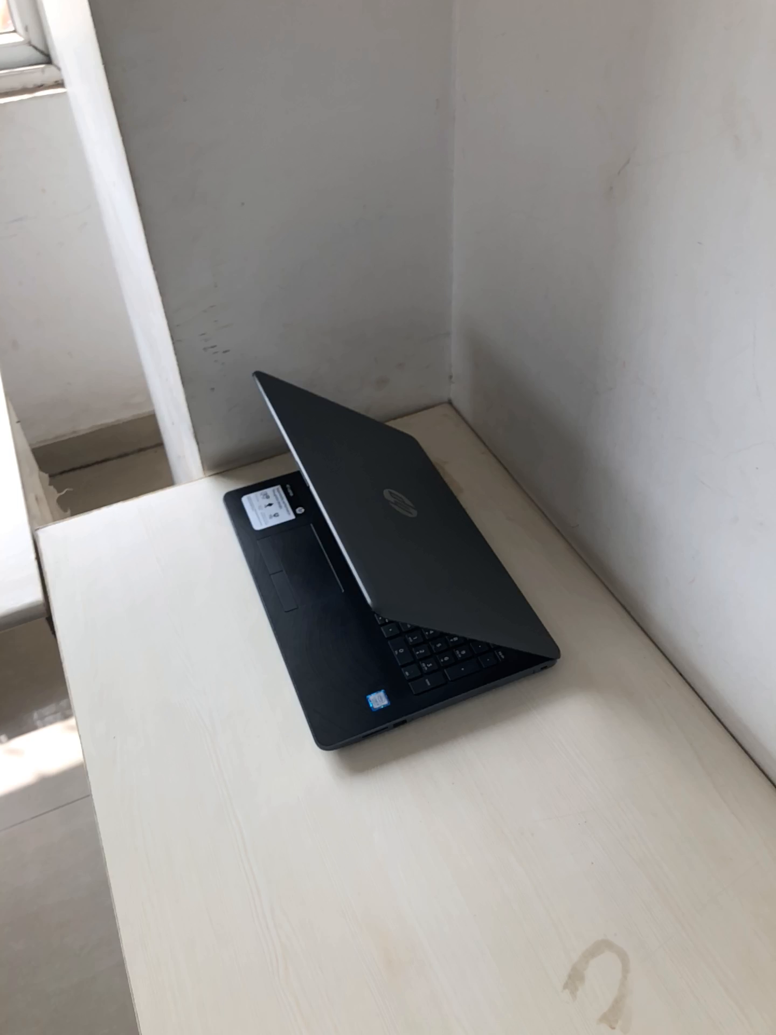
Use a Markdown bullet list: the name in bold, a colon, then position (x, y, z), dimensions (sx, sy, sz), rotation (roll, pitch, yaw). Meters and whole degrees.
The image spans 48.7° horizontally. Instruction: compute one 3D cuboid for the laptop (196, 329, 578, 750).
- **laptop**: position (-0.017, -0.002, 0.861), dimensions (0.244, 0.157, 0.357), rotation (-17, 47, -16)
